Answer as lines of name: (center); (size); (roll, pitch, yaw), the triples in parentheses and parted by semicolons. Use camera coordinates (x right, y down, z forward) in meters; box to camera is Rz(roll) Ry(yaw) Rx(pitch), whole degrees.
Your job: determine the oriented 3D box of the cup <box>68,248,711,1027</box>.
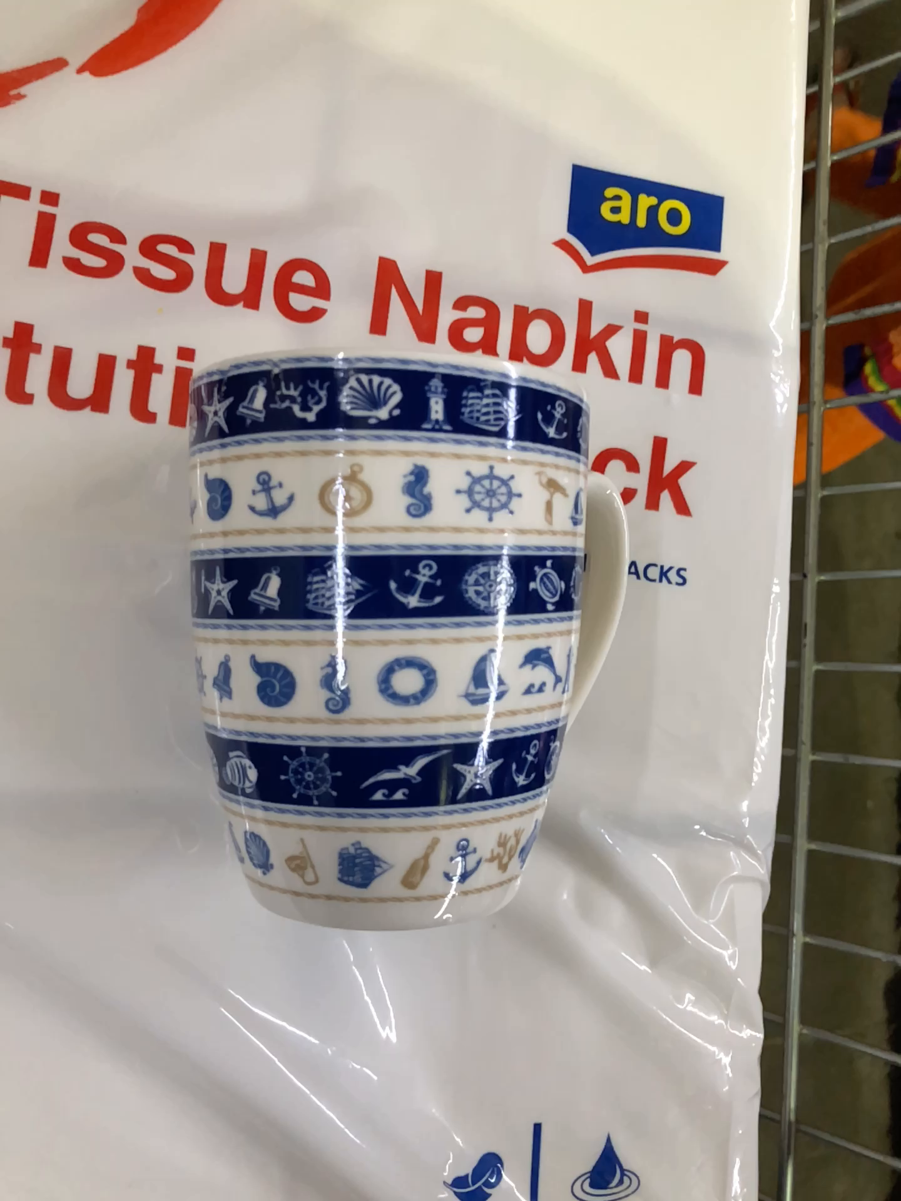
cup: (-0.003, 0.004, 0.214); (0.120, 0.080, 0.110); (-6, 97, -59)
